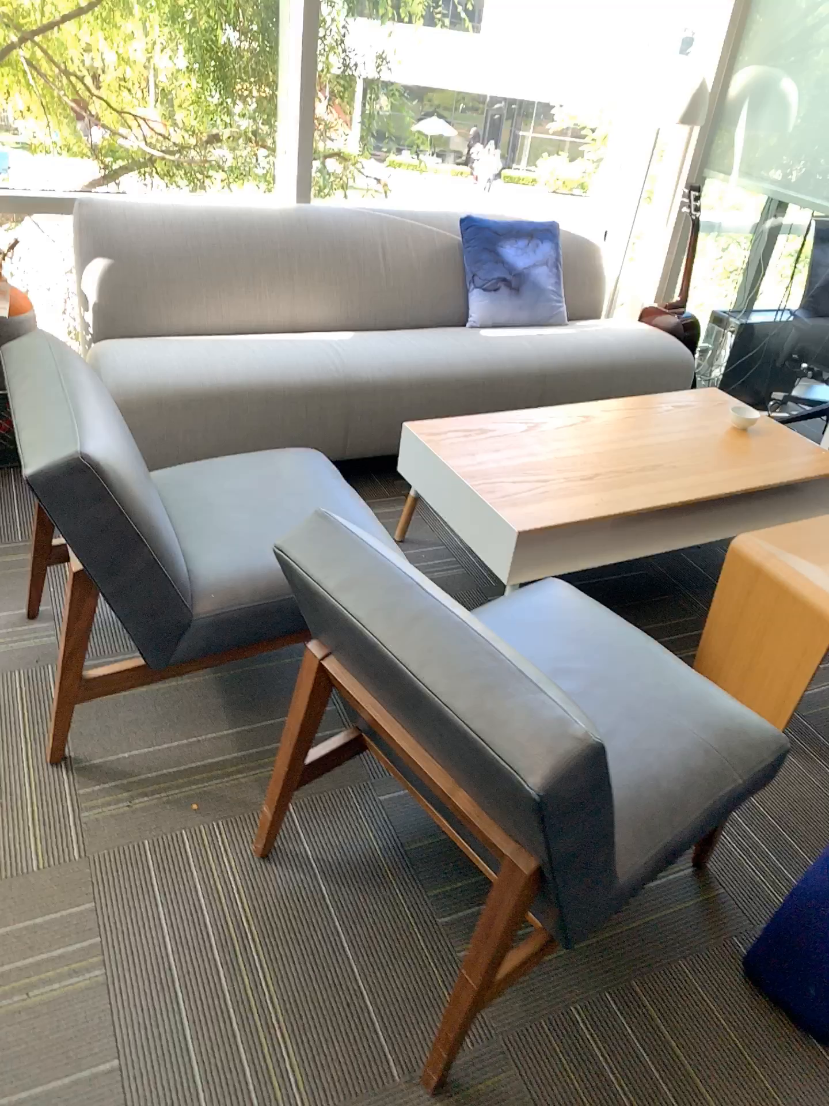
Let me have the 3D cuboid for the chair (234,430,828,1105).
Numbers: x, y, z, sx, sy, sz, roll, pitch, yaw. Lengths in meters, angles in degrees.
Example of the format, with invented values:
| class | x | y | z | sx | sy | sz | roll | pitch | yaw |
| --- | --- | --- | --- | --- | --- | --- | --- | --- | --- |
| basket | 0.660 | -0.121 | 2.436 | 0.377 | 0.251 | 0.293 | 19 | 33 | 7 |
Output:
| class | x | y | z | sx | sy | sz | roll | pitch | yaw |
| --- | --- | --- | --- | --- | --- | --- | --- | --- | --- |
| chair | 0.208 | 0.331 | 1.598 | 0.851 | 0.766 | 0.683 | -19 | 41 | -36 |

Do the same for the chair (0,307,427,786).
| class | x | y | z | sx | sy | sz | roll | pitch | yaw |
| --- | --- | --- | --- | --- | --- | --- | --- | --- | --- |
| chair | -0.565 | -0.088 | 2.077 | 0.850 | 0.766 | 0.744 | -11 | 37 | -28 |
